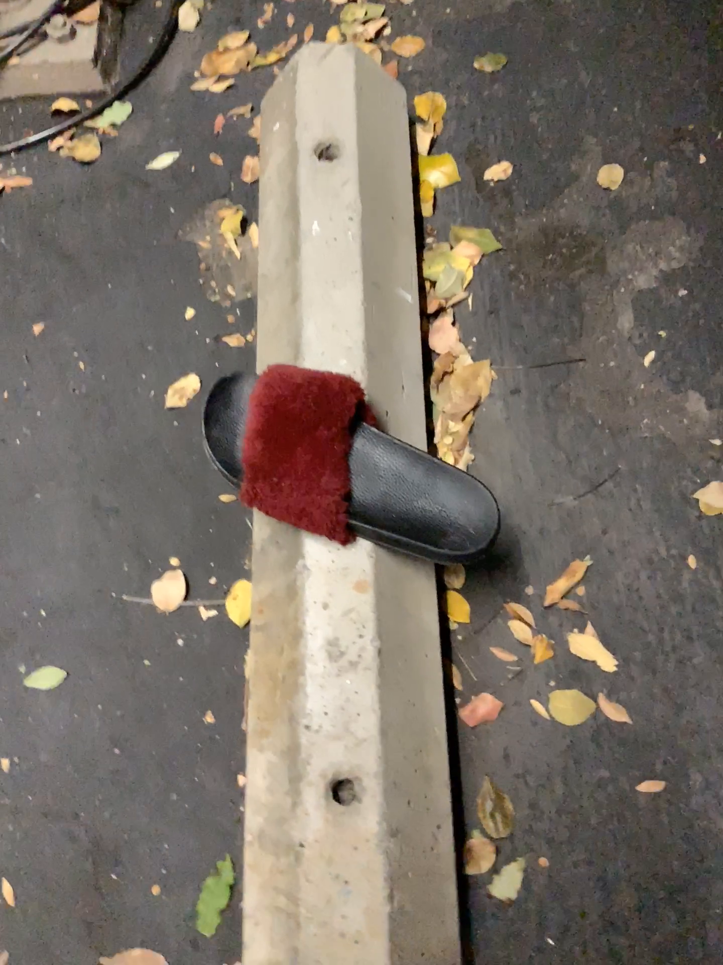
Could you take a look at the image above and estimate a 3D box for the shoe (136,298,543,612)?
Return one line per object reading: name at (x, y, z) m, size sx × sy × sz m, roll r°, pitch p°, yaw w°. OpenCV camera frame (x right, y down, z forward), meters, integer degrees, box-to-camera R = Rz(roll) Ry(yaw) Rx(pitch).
shoe at (-0.017, -0.026, 0.640) m, size 0.280 × 0.050 × 0.140 m, roll 25°, pitch 71°, yaw 9°
